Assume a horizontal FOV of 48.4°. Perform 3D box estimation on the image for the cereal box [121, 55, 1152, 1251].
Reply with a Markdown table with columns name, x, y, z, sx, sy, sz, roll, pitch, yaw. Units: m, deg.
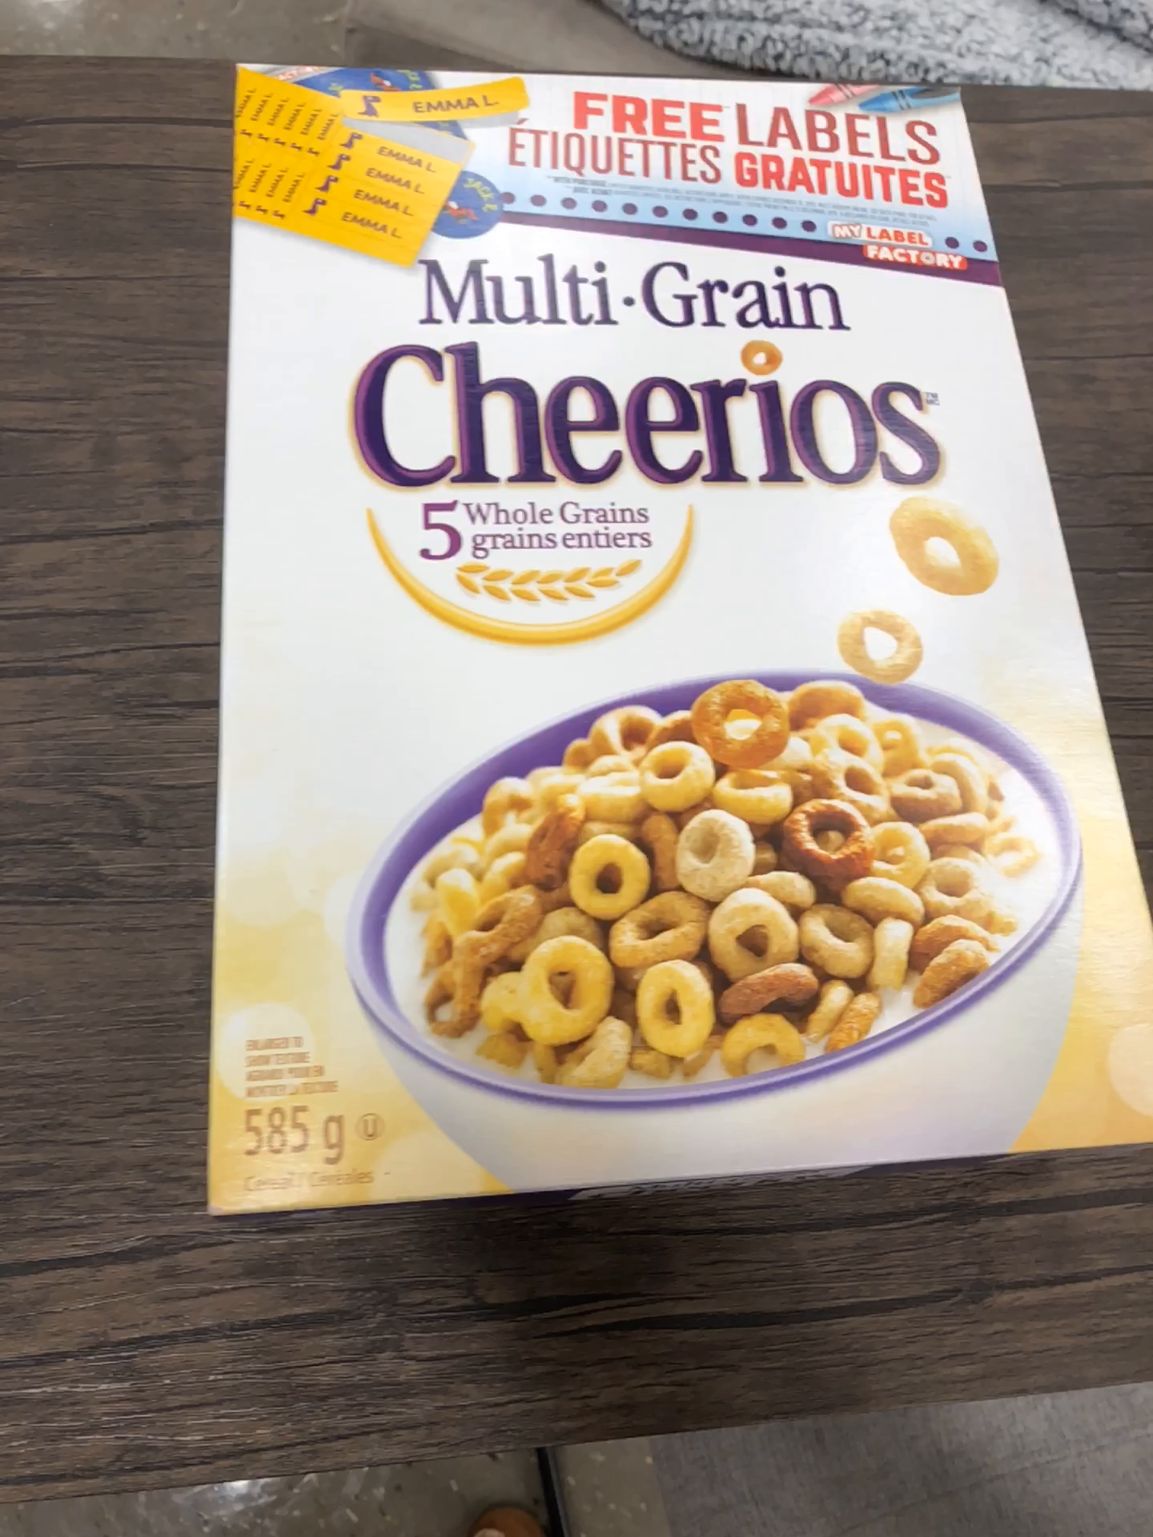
| name | x | y | z | sx | sy | sz | roll | pitch | yaw |
| --- | --- | --- | --- | --- | --- | --- | --- | --- | --- |
| cereal box | 0.016 | -0.050 | 0.375 | 0.250 | 0.070 | 0.340 | -1 | 68 | -7 |
